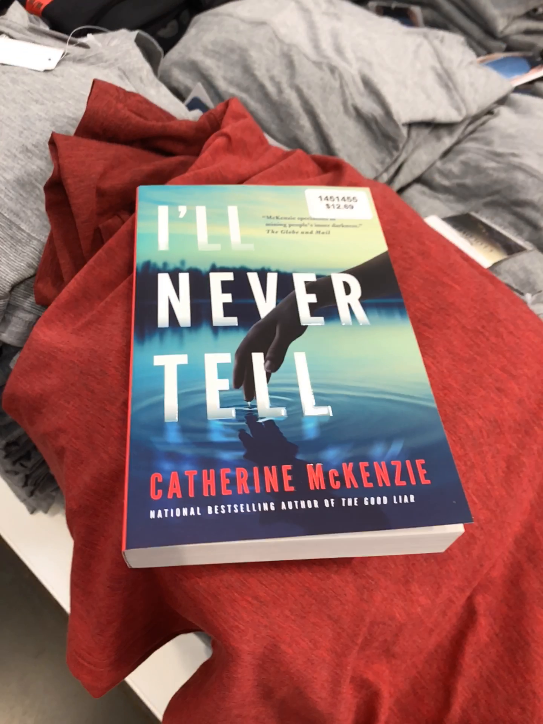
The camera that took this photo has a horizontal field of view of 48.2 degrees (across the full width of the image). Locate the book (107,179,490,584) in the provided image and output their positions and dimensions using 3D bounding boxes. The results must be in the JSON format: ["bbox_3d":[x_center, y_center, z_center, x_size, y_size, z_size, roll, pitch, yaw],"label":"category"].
[{"bbox_3d":[0.000,-0.008,0.297,0.143,0.032,0.209,-2,54,-9],"label":"book"}]
